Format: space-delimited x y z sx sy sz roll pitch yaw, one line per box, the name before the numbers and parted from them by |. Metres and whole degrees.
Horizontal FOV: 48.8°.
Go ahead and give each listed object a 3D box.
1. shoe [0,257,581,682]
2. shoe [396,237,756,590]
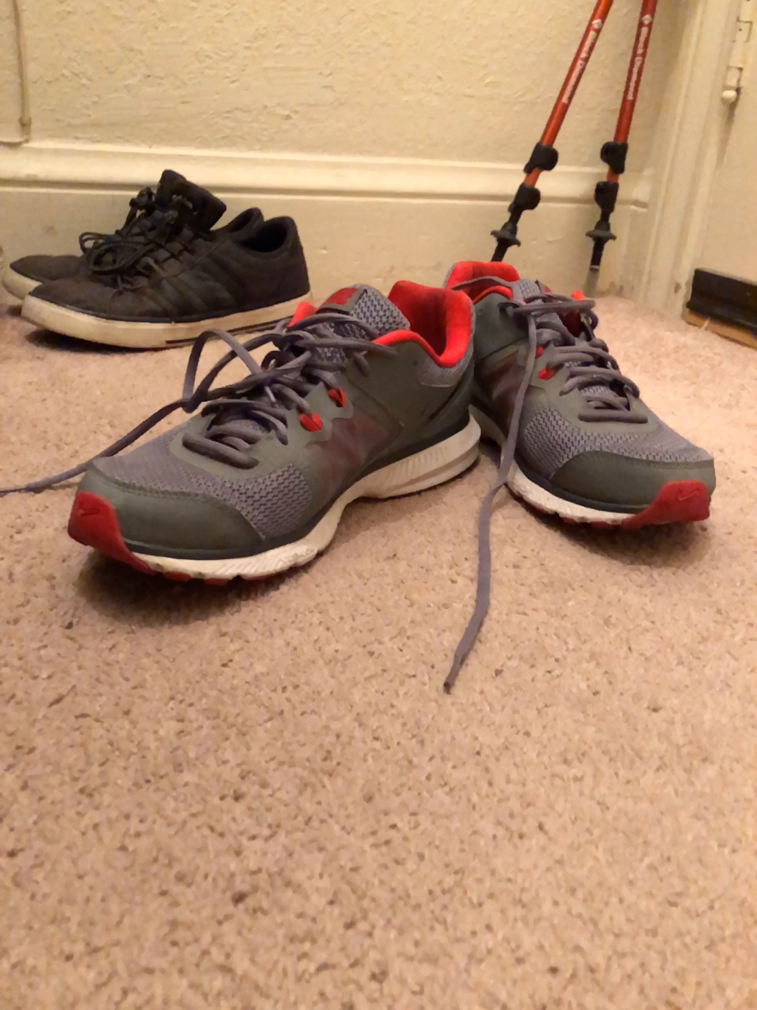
shoe | -0.027 -0.047 0.443 0.113 0.119 0.298 24 33 35
shoe | 0.116 -0.082 0.533 0.113 0.119 0.299 -5 28 -17
